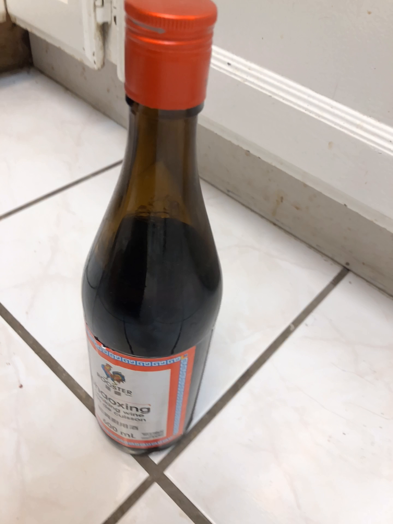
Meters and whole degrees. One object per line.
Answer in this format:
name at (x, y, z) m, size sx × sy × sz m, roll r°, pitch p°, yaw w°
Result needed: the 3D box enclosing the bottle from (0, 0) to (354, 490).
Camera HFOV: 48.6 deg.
bottle at (-0.017, 0.020, 0.224) m, size 0.080 × 0.278 × 0.070 m, roll 23°, pitch 47°, yaw 12°
